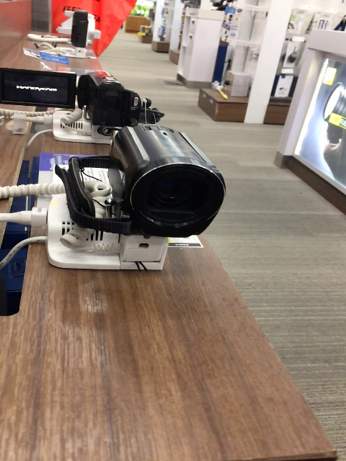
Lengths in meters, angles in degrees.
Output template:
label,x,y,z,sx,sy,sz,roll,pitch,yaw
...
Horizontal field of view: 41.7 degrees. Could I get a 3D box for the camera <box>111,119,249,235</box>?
label,x,y,z,sx,sy,sz,roll,pitch,yaw
camera,-0.003,-0.039,0.299,0.069,0.043,0.101,1,28,-10
